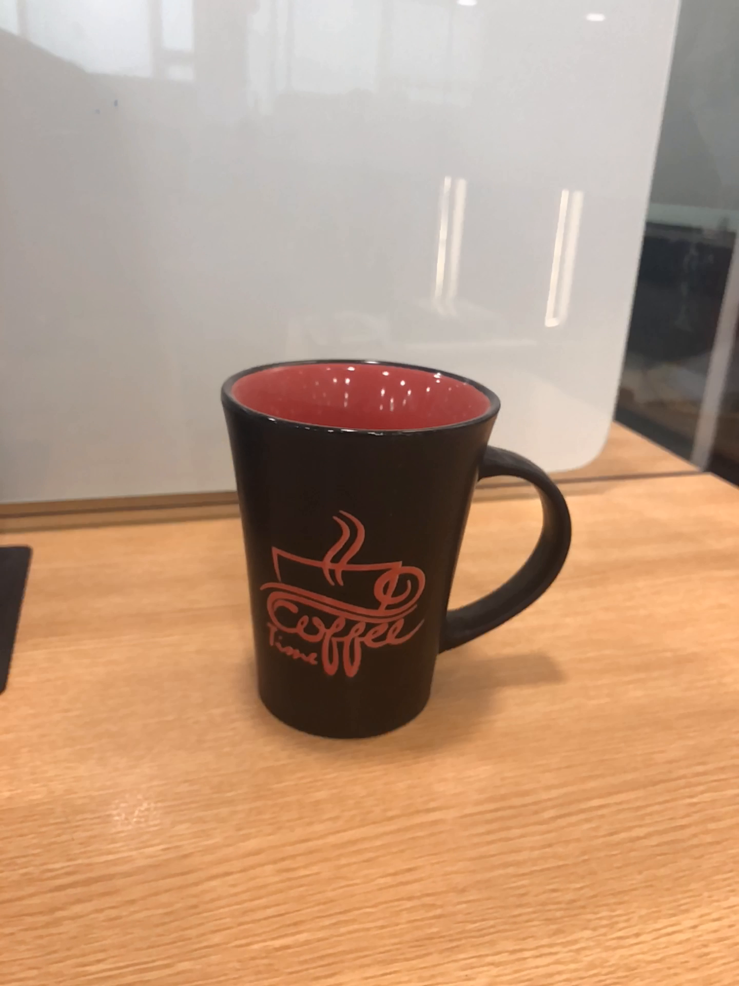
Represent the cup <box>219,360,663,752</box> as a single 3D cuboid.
[{"bbox_3d":[0.014,0.016,0.281,0.120,0.100,0.090,1,21,-6],"label":"cup"}]
